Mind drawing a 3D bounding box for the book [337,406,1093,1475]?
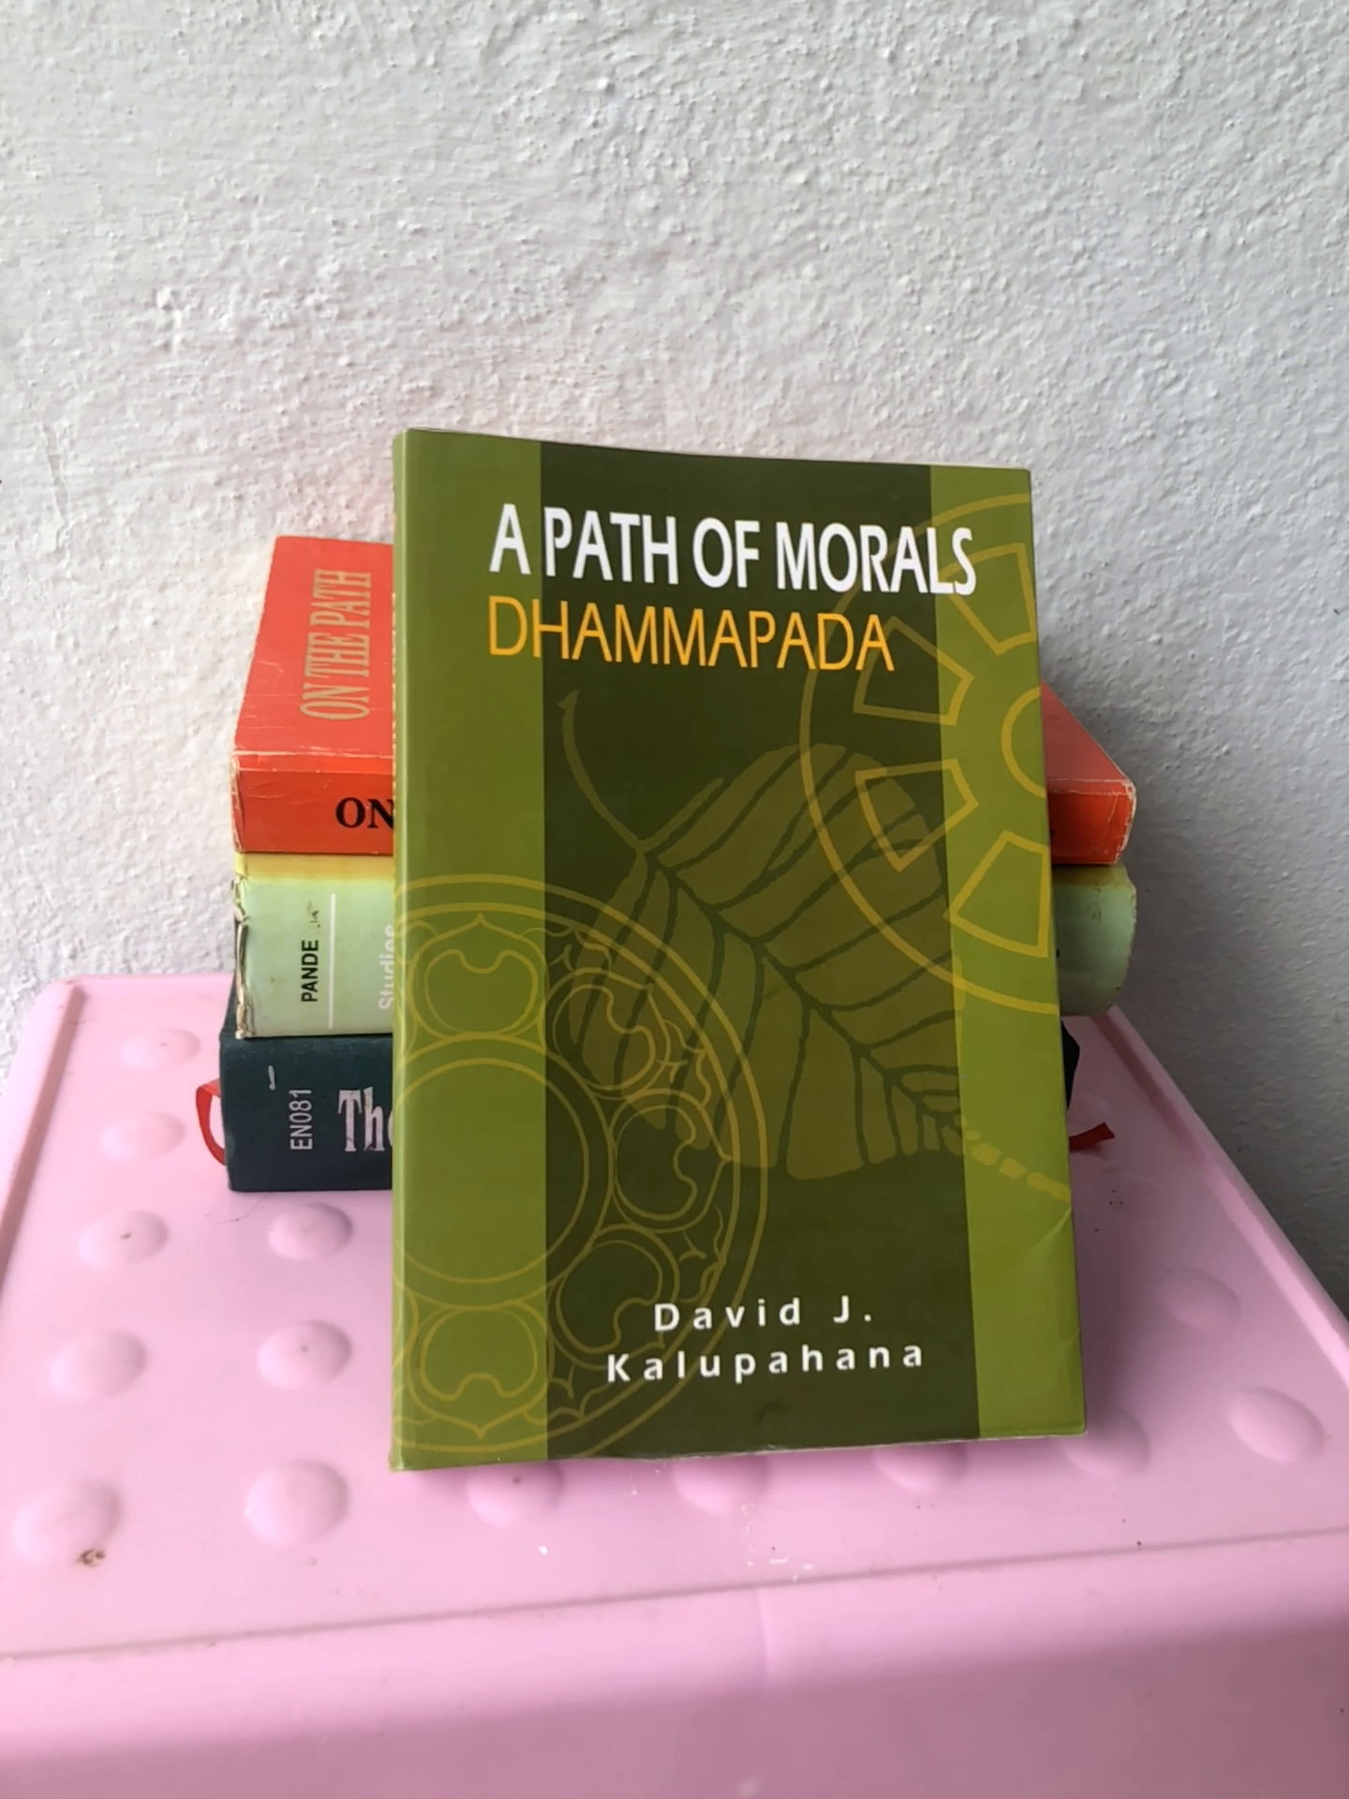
[{"bbox_3d":[0.007,0.006,0.326,0.150,0.210,0.040,1,-9,-11],"label":"book"}]

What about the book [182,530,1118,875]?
[{"bbox_3d":[-0.013,-0.060,0.408,0.210,0.030,0.161,-1,30,-10],"label":"book"}]

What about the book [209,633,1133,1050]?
[{"bbox_3d":[-0.009,-0.024,0.413,0.210,0.040,0.161,0,30,-10],"label":"book"}]

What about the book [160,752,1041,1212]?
[{"bbox_3d":[-0.025,0.014,0.437,0.210,0.050,0.161,0,30,-8],"label":"book"}]
